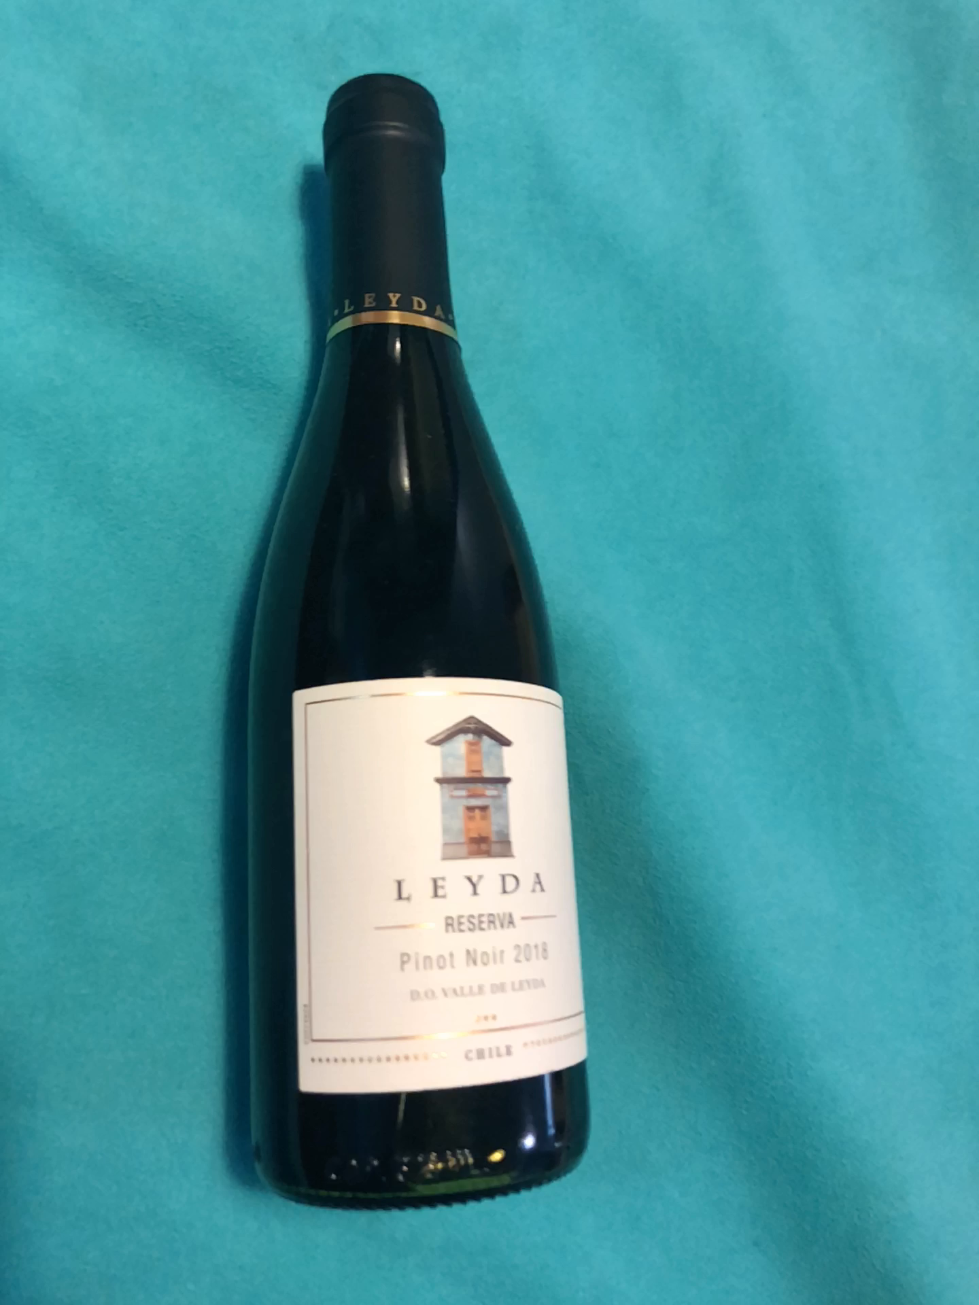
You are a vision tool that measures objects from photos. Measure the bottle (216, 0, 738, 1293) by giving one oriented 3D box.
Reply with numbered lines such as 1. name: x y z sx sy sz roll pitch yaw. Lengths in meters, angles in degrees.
1. bottle: -0.006 -0.035 0.214 0.070 0.080 0.260 5 78 -17
